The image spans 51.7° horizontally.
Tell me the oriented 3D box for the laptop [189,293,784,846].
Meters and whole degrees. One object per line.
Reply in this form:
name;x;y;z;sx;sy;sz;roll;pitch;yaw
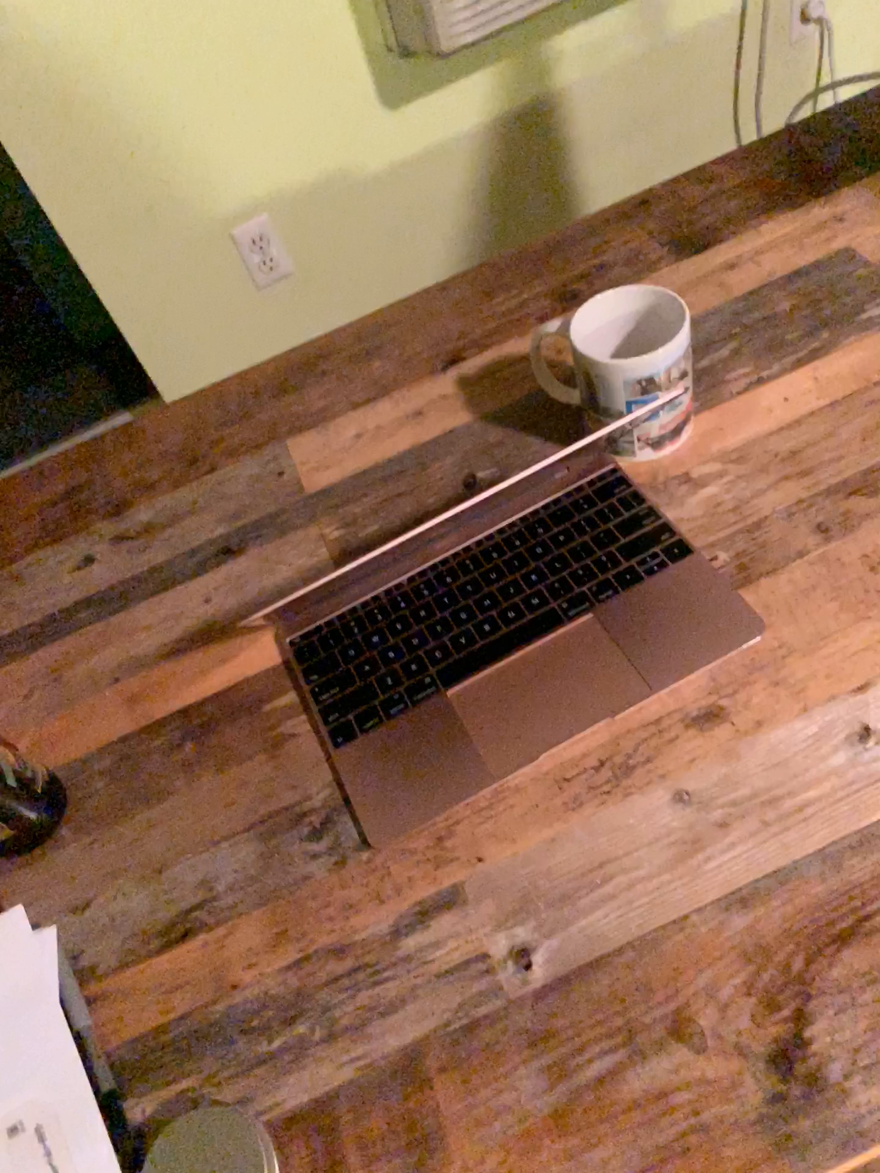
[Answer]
laptop;0.027;-0.015;0.565;0.278;0.145;0.194;-28;52;-5
